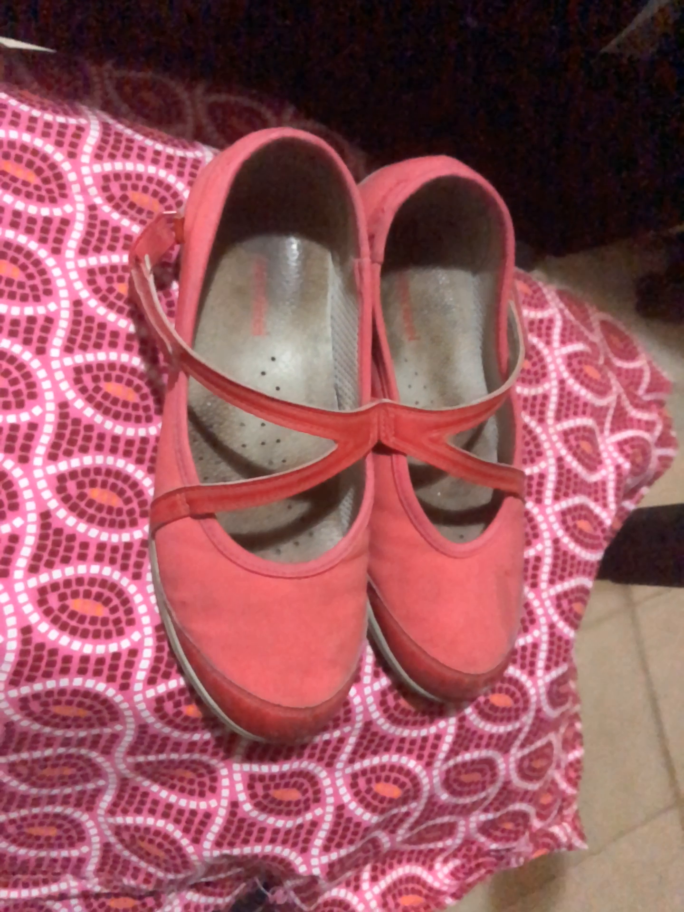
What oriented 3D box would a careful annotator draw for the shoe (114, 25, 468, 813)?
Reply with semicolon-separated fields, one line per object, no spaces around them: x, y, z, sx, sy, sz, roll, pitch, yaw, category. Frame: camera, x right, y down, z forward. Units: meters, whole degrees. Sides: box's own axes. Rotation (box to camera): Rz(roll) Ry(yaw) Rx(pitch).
-0.031;-0.017;0.346;0.110;0.100;0.290;-3;85;-26;shoe

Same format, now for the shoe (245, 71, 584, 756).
0.031;-0.021;0.398;0.110;0.100;0.300;-4;86;-26;shoe
